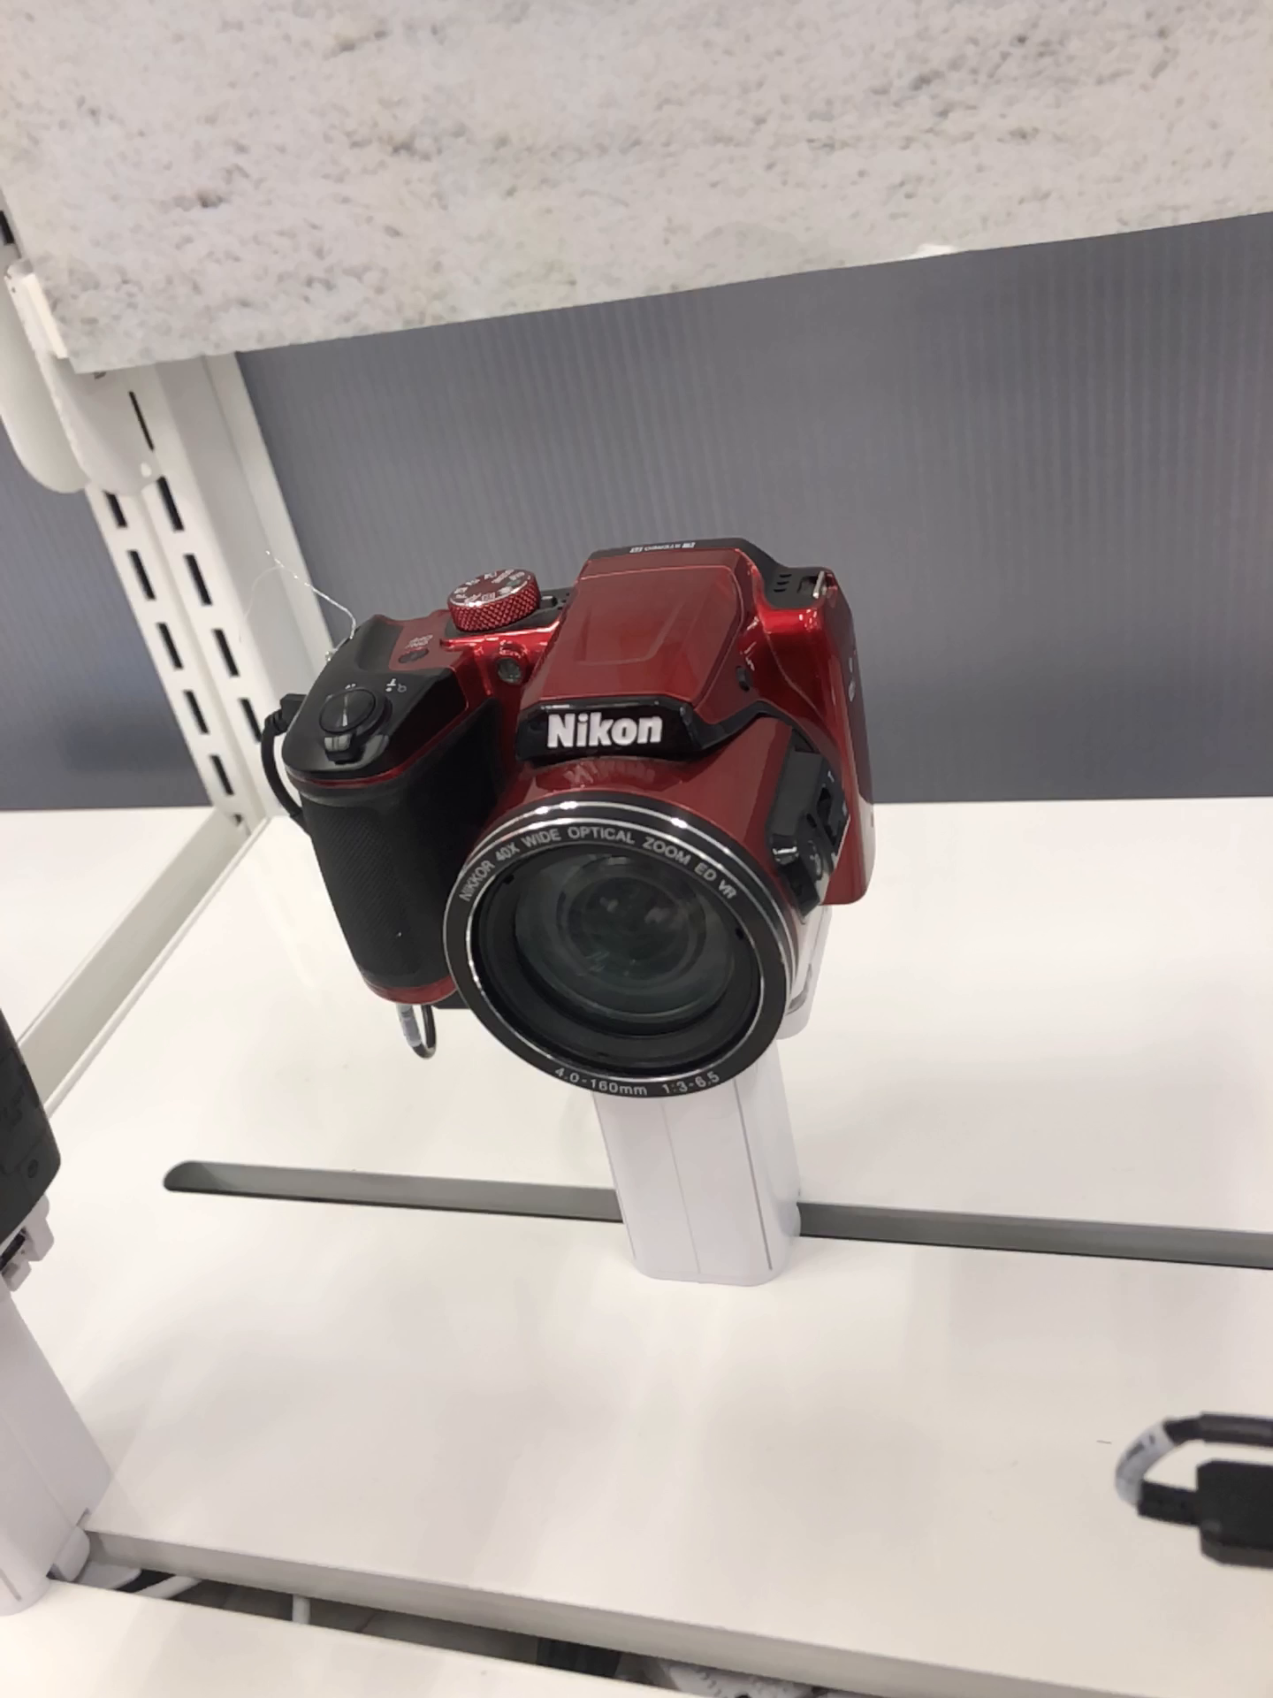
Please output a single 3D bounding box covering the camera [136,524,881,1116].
[{"bbox_3d":[-0.015,-0.008,0.275,0.110,0.073,0.084,0,34,18],"label":"camera"}]
